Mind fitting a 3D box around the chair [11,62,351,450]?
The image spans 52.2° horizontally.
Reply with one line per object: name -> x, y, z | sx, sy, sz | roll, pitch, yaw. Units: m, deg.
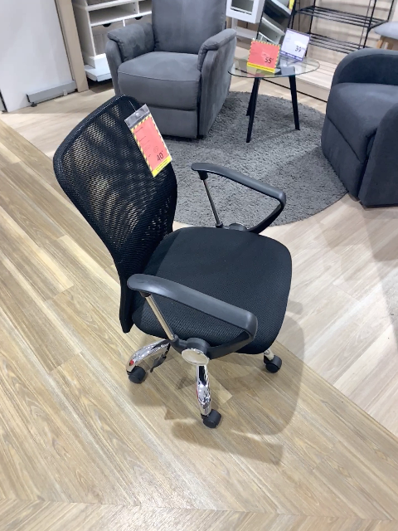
chair -> 0.025, -0.021, 1.230 | 0.601, 0.865, 0.643 | 12, 45, 13
